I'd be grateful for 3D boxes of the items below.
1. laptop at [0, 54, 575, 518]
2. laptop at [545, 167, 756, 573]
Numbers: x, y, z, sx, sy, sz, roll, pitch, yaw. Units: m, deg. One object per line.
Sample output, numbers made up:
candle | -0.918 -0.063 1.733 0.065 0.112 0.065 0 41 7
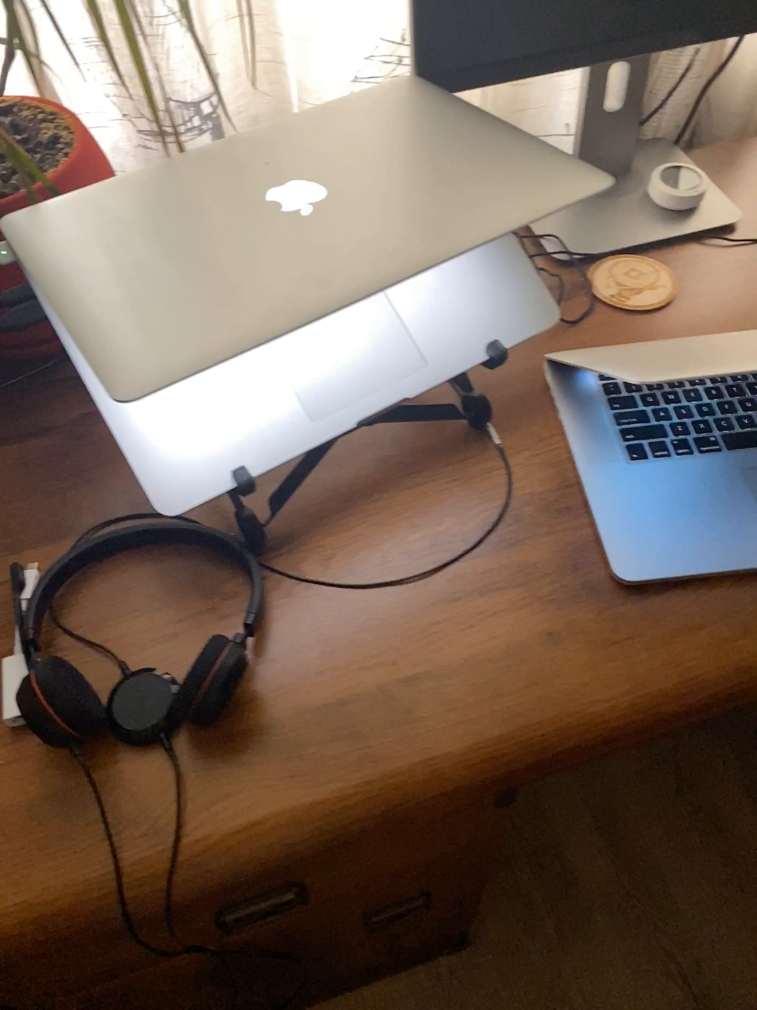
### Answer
laptop | -0.058 -0.182 0.576 0.355 0.022 0.243 -28 80 -17
laptop | 0.339 -0.106 0.586 0.355 0.152 0.236 -6 53 -1
